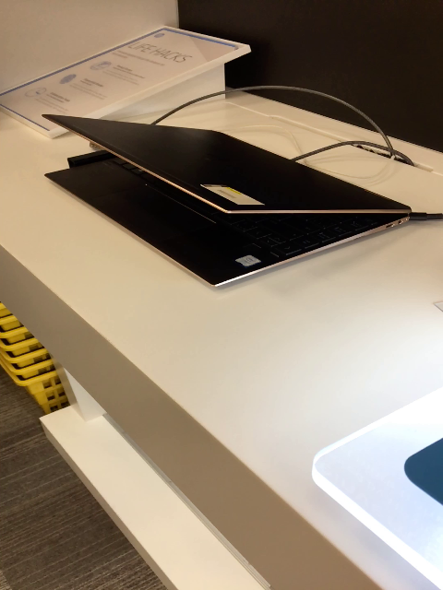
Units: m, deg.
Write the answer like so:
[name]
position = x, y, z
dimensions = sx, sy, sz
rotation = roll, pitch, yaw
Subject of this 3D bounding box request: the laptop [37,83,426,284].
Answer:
[laptop]
position = -0.008, -0.137, 0.611
dimensions = 0.225, 0.071, 0.307
rotation = -25, 41, -27
